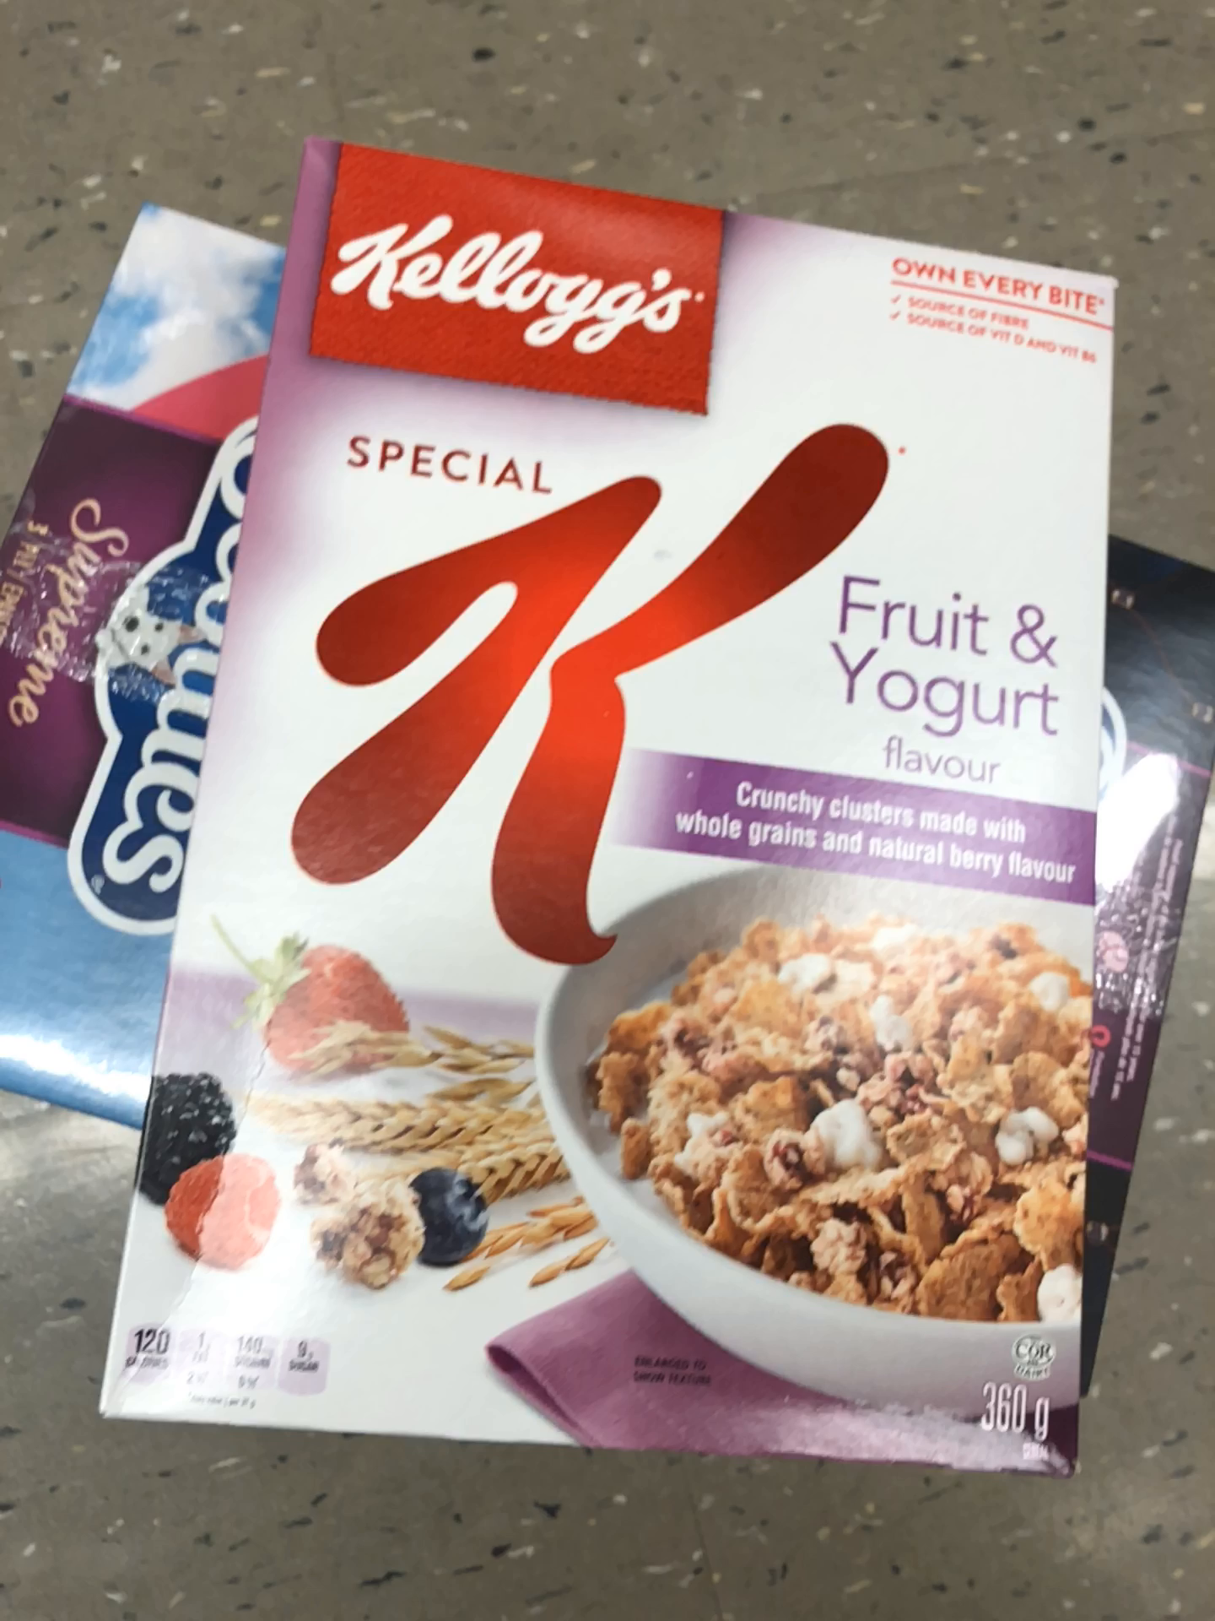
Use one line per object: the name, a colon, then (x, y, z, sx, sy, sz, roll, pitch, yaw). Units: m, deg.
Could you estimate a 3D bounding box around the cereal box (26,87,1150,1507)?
cereal box: (0.011, -0.008, 0.309, 0.210, 0.050, 0.280, 7, 76, -7)
